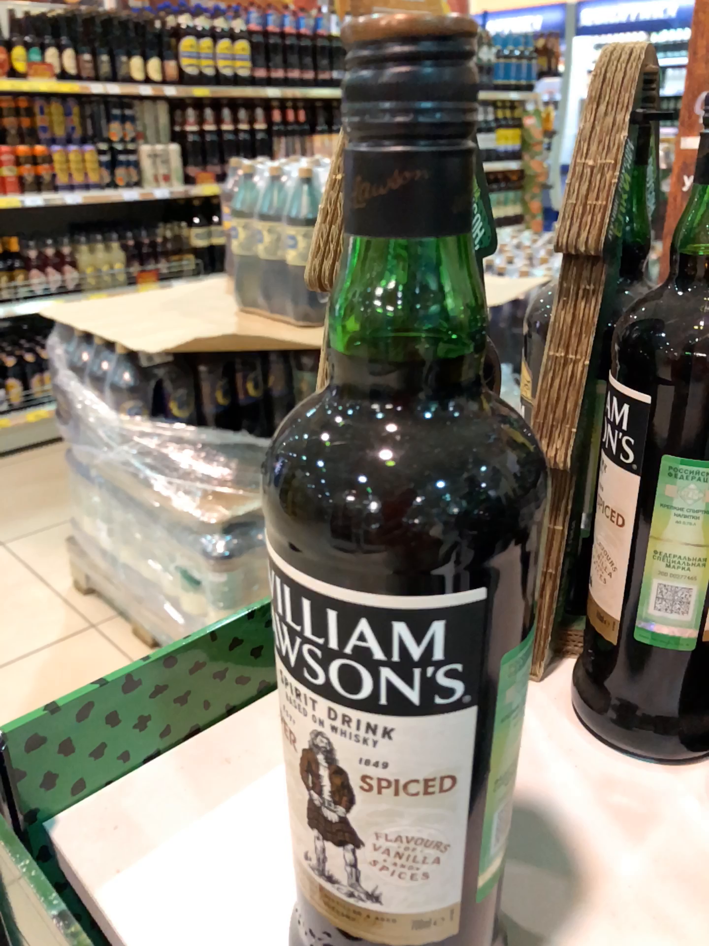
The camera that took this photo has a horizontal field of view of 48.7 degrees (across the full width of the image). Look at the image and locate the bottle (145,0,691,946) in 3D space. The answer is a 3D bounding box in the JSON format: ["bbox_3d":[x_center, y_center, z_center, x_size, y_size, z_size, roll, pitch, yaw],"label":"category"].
[{"bbox_3d":[0.018,0.039,0.227,0.080,0.298,0.090,17,29,36],"label":"bottle"}]
